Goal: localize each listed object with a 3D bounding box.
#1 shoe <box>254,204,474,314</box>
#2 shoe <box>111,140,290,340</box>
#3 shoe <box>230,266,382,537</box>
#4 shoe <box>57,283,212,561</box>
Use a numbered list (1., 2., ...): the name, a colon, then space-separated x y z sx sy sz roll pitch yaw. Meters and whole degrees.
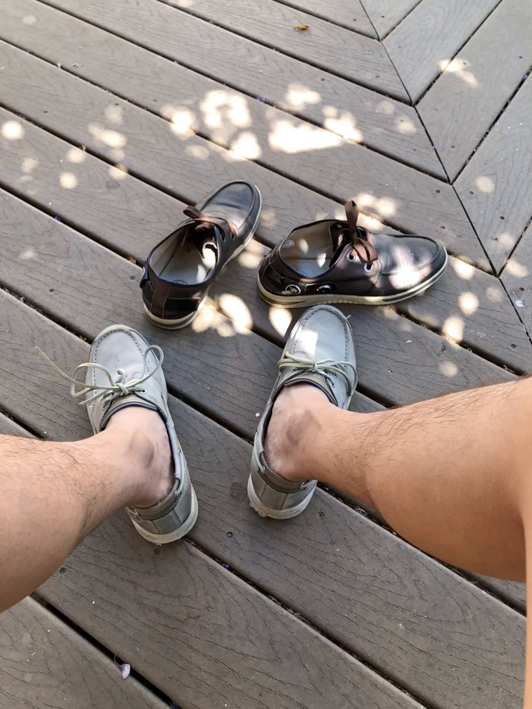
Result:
1. shoe: 0.127 -0.133 0.814 0.277 0.079 0.110 -4 61 -4
2. shoe: -0.082 -0.167 0.818 0.109 0.069 0.279 27 65 12
3. shoe: 0.052 0.049 0.704 0.109 0.101 0.293 14 62 5
4. shoe: -0.155 0.069 0.680 0.109 0.086 0.293 -14 63 -11
